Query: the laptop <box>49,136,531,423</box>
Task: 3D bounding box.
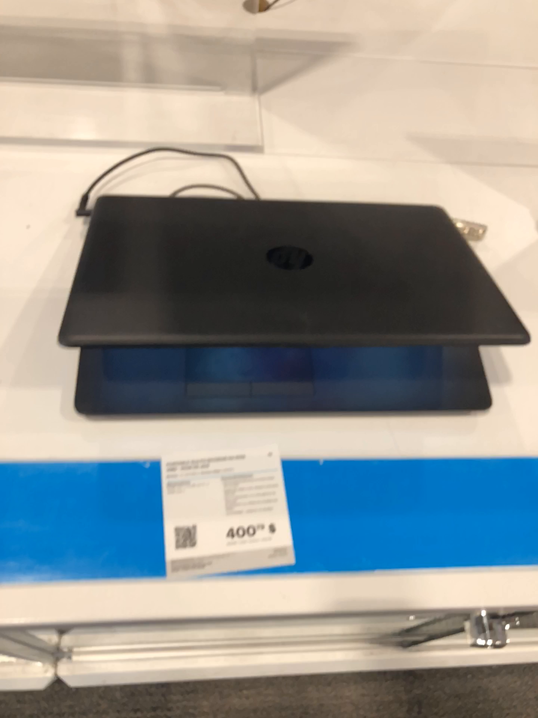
[{"bbox_3d":[0.018,-0.074,0.542,0.366,0.092,0.235,0,60,-11],"label":"laptop"}]
